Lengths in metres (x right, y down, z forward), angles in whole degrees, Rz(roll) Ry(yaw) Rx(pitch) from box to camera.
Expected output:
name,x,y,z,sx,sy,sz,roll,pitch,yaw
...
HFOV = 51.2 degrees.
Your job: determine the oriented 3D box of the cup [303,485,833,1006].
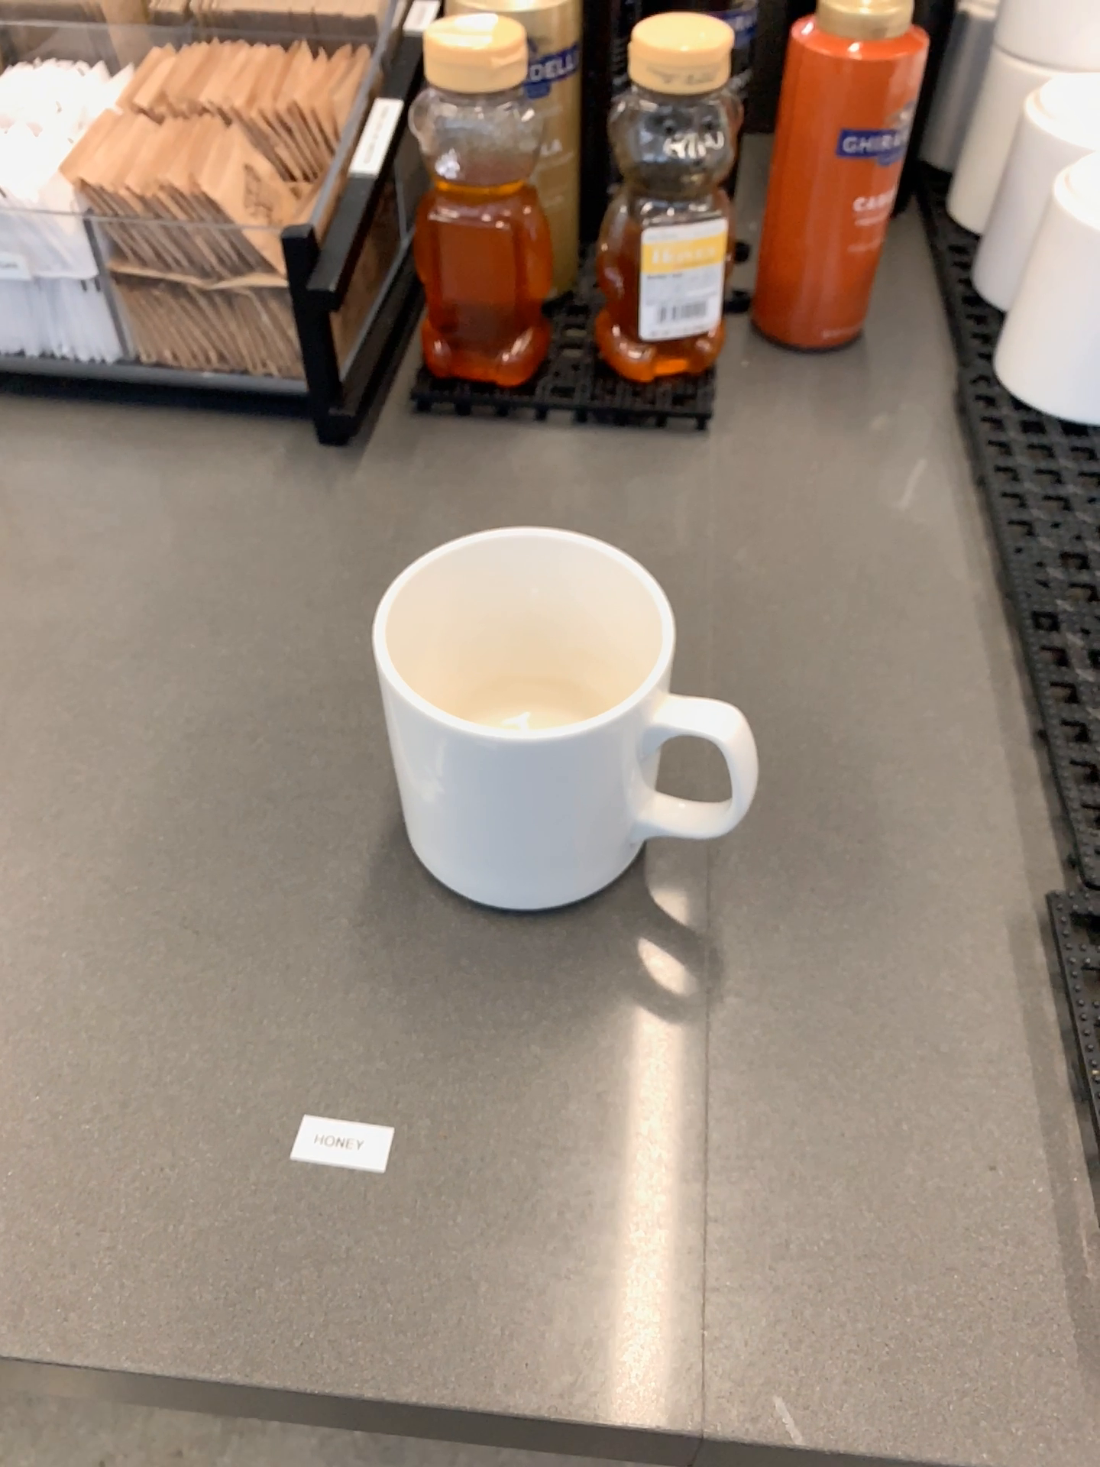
name,x,y,z,sx,sy,sz,roll,pitch,yaw
cup,0.007,0.001,0.349,0.120,0.090,0.090,19,51,16
